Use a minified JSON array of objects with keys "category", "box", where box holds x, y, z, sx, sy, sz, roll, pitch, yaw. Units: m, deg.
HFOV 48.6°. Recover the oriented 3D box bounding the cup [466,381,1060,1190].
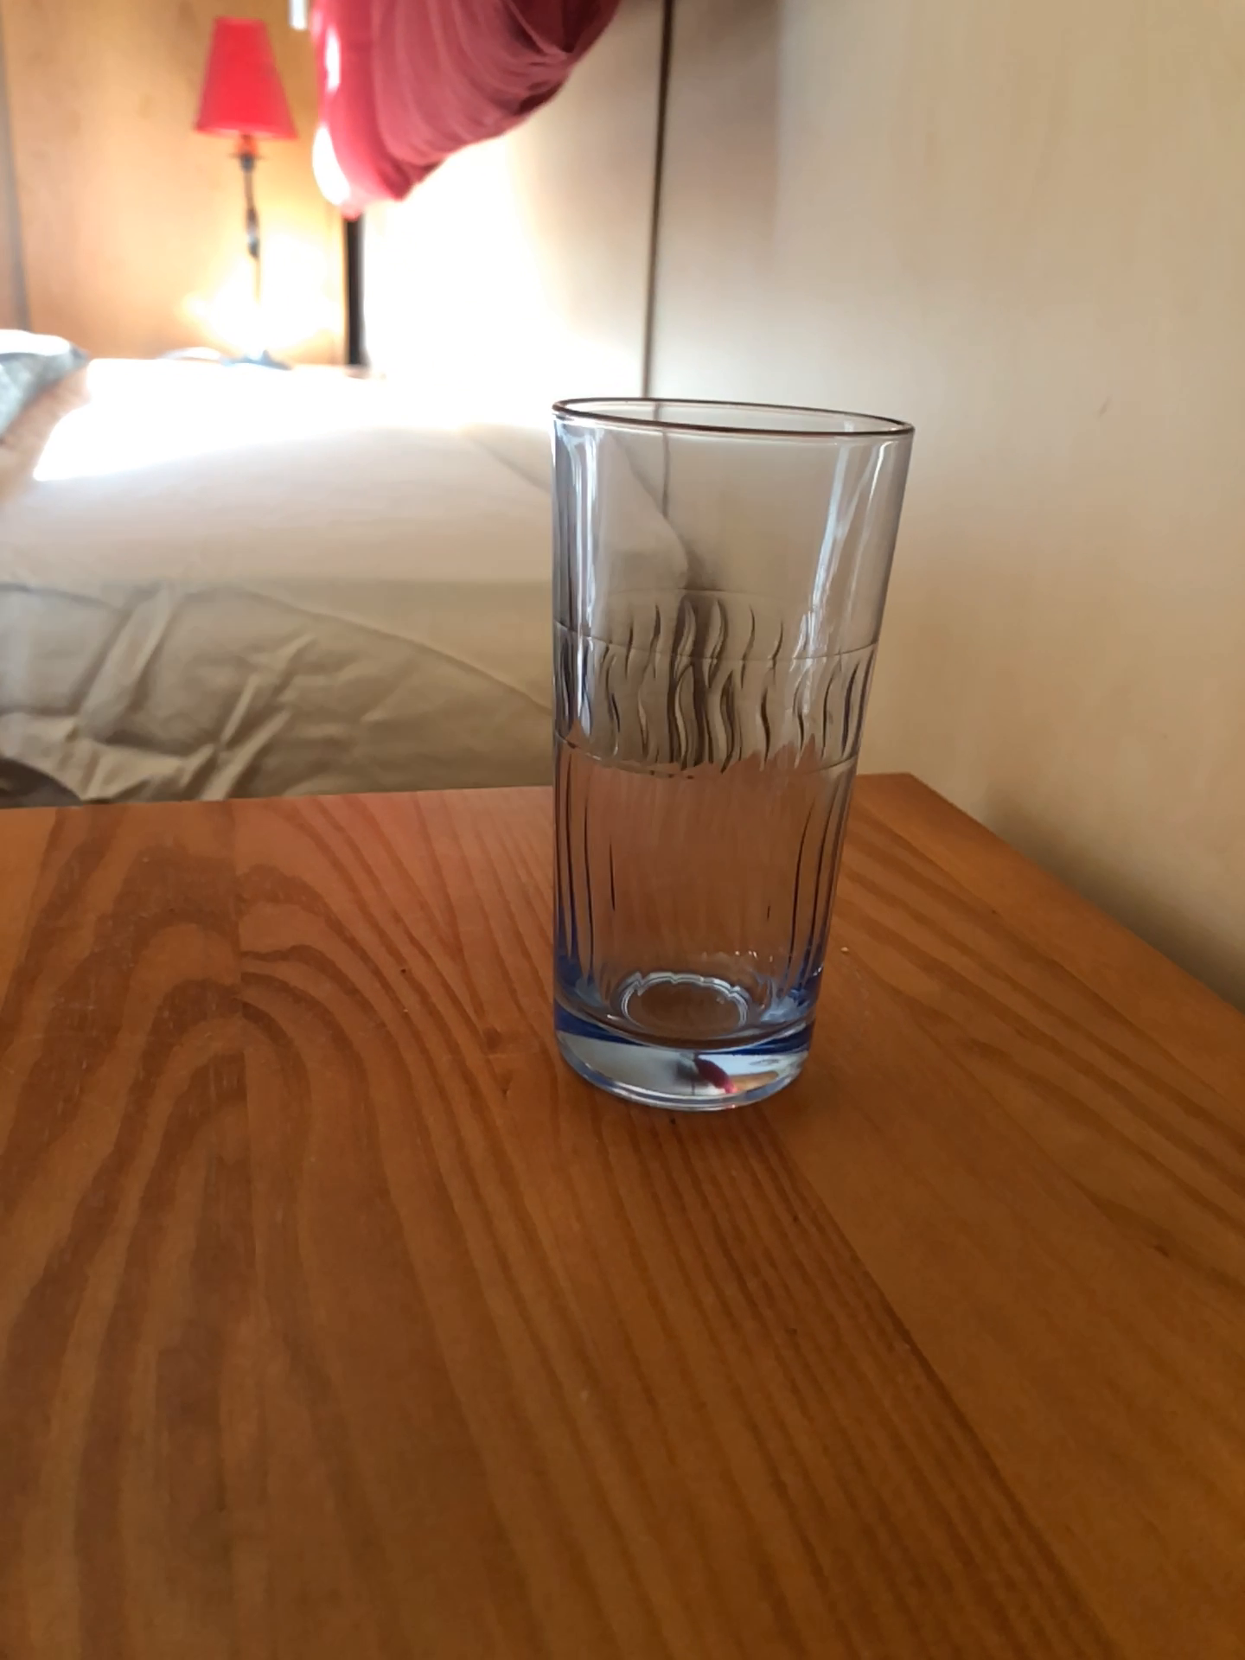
[{"category":"cup","box":[0.023,-0.016,0.267,0.076,0.129,0.070,3,21,-1]}]
